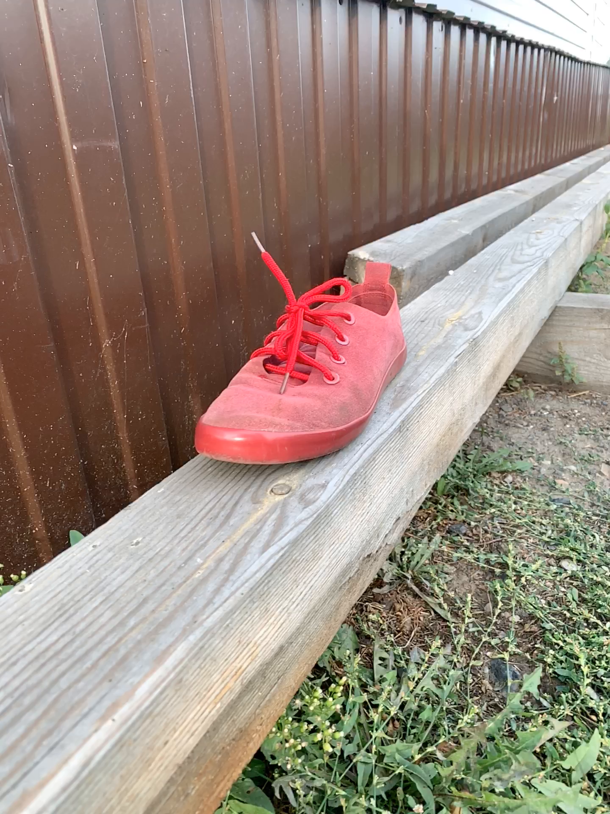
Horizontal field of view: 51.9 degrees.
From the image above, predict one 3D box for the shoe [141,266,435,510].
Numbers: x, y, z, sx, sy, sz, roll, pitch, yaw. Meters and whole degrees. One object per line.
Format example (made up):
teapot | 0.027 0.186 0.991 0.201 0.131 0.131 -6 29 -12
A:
shoe | 0.010 -0.033 0.422 0.100 0.069 0.242 6 26 23
